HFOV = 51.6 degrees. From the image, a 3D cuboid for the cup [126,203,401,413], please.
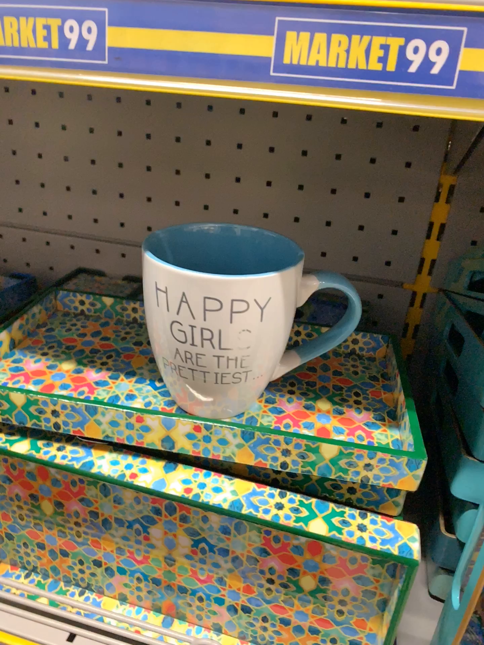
[{"bbox_3d":[0.006,-0.015,0.346,0.150,0.100,0.120,1,26,-6],"label":"cup"}]
